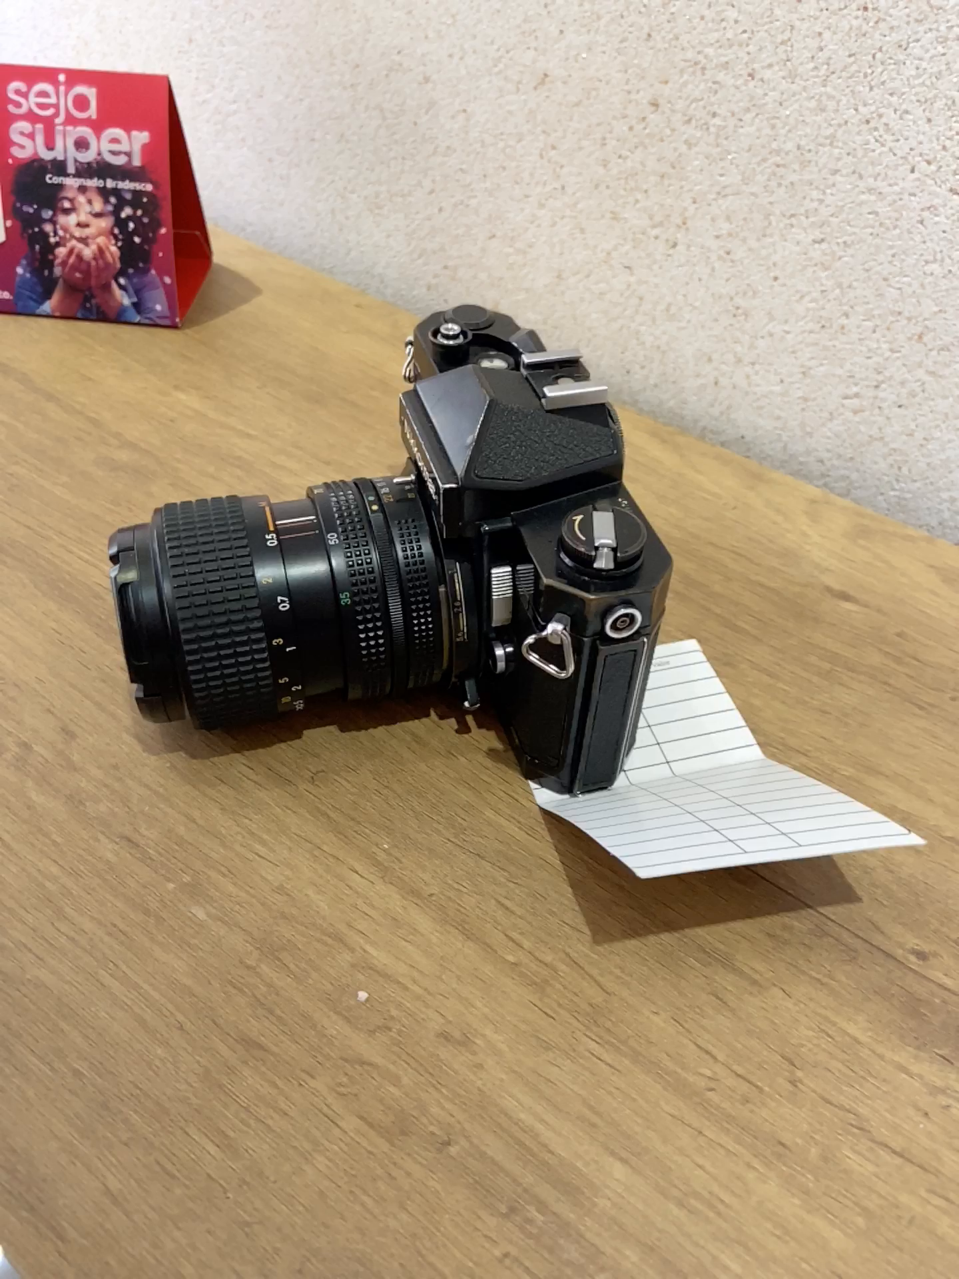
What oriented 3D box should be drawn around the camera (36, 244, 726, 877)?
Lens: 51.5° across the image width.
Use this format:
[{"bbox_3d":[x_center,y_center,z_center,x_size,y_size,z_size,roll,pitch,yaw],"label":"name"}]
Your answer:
[{"bbox_3d":[-0.036,-0.036,0.287,0.140,0.089,0.161,-7,43,-12],"label":"camera"}]
